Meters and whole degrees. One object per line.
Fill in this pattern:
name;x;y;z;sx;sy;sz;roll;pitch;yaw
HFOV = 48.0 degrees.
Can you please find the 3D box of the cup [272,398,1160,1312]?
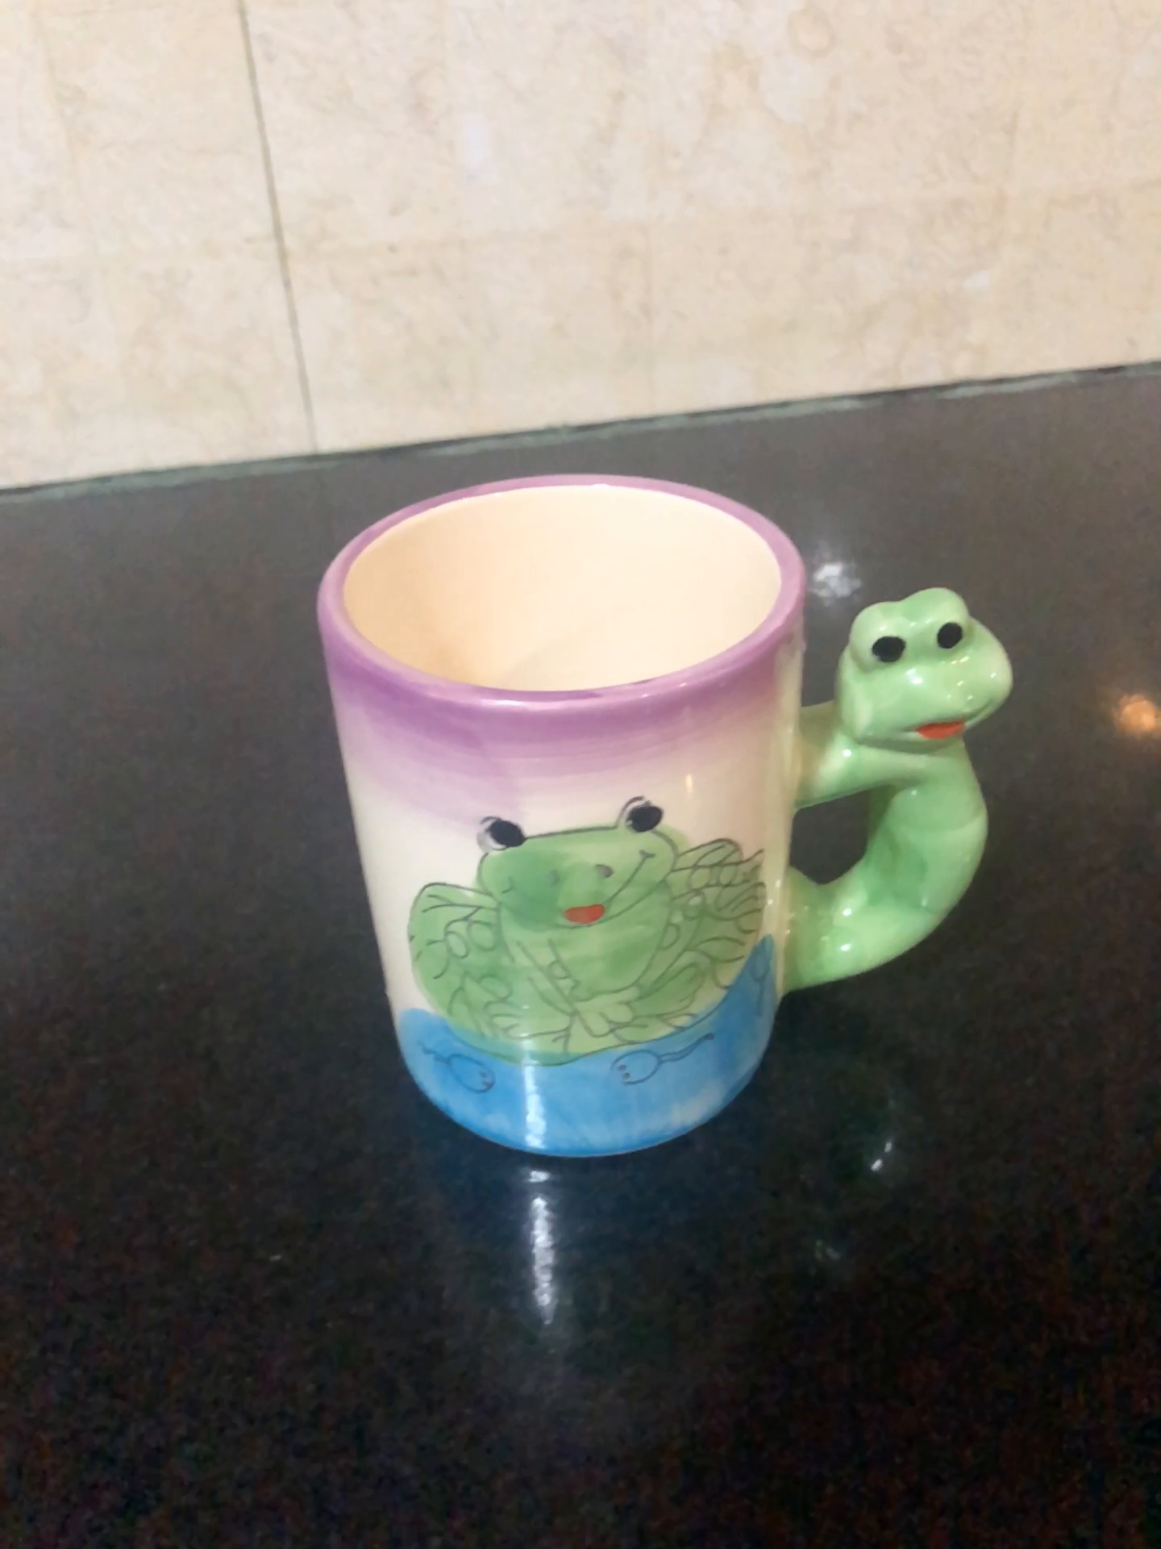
cup;0.017;0.009;0.227;0.110;0.109;0.081;-14;36;-15
